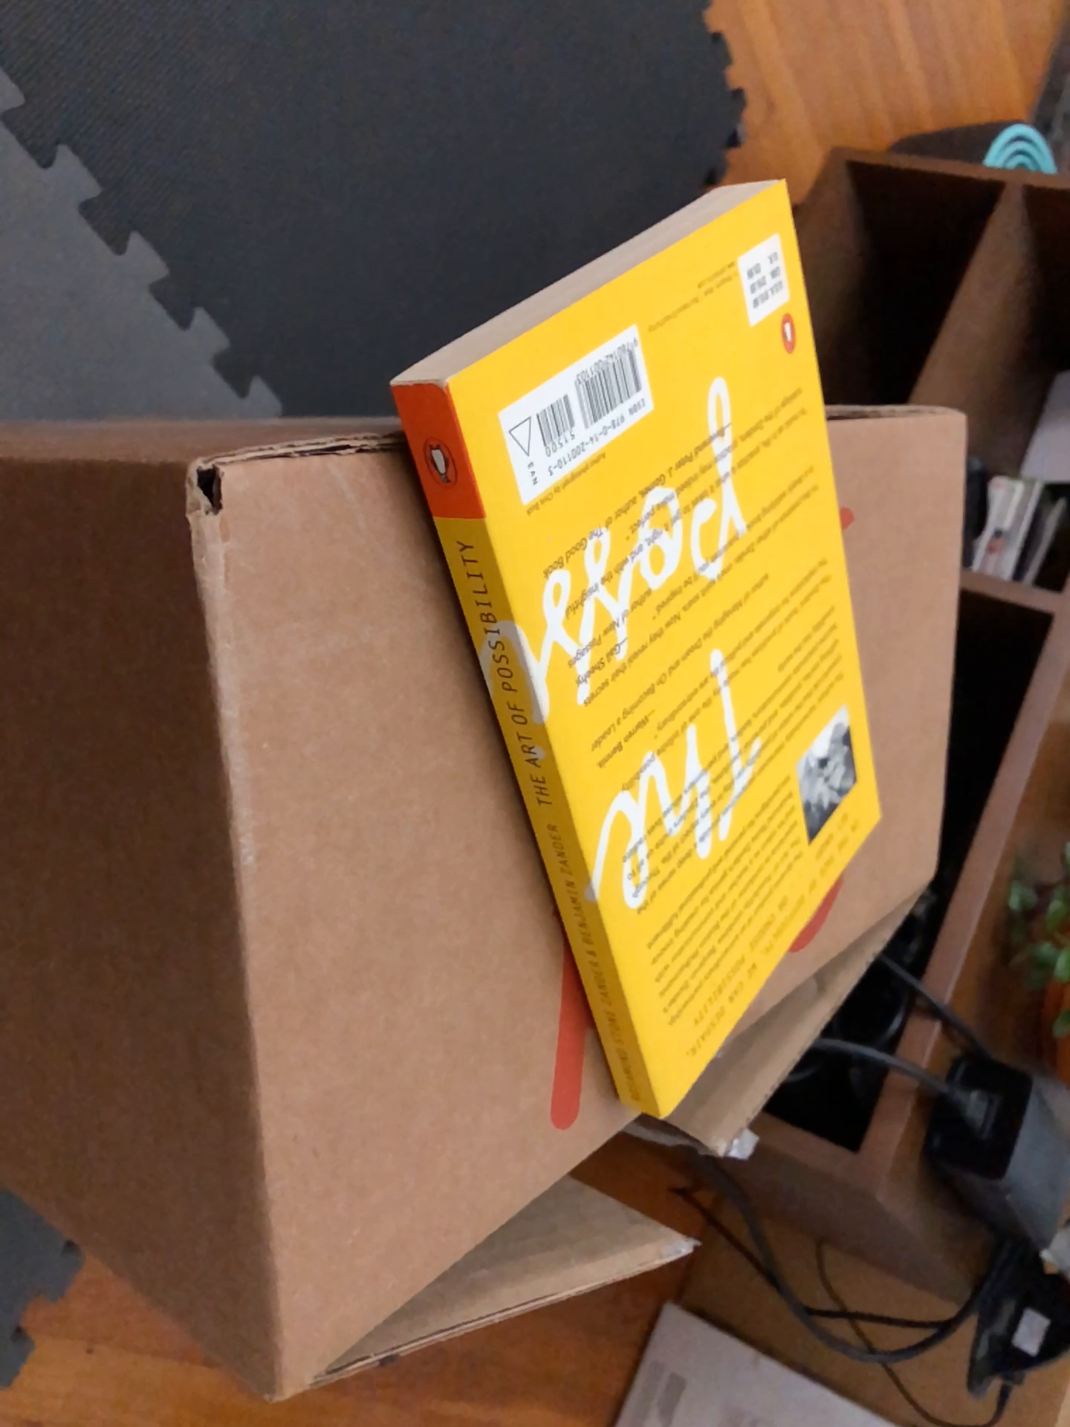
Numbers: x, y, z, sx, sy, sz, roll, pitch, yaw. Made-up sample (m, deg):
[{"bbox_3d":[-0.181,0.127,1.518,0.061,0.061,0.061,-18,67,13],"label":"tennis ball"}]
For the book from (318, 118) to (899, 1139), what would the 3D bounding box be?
[{"bbox_3d":[0.041,-0.020,0.307,0.151,0.020,0.210,-43,128,-37],"label":"book"}]
